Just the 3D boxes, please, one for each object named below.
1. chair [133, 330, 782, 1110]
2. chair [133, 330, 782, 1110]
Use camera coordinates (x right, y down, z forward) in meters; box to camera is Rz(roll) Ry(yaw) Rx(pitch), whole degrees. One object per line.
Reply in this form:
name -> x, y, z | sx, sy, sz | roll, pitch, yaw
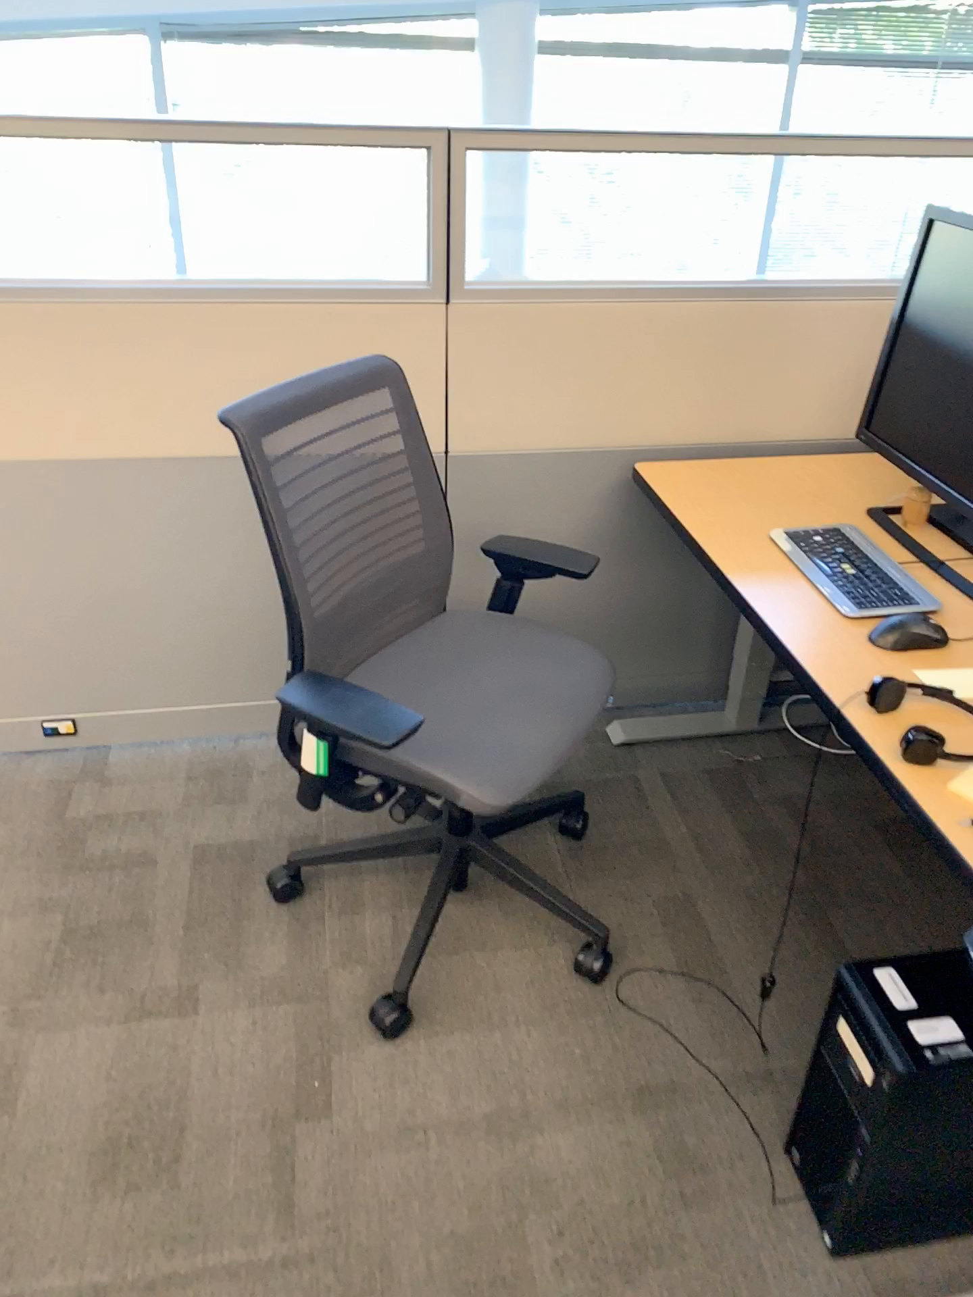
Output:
chair -> -0.022, 0.068, 1.918 | 0.802, 1.083, 0.773 | 17, 34, 24
chair -> -0.022, 0.068, 1.918 | 0.802, 1.083, 0.773 | 17, 34, 24
